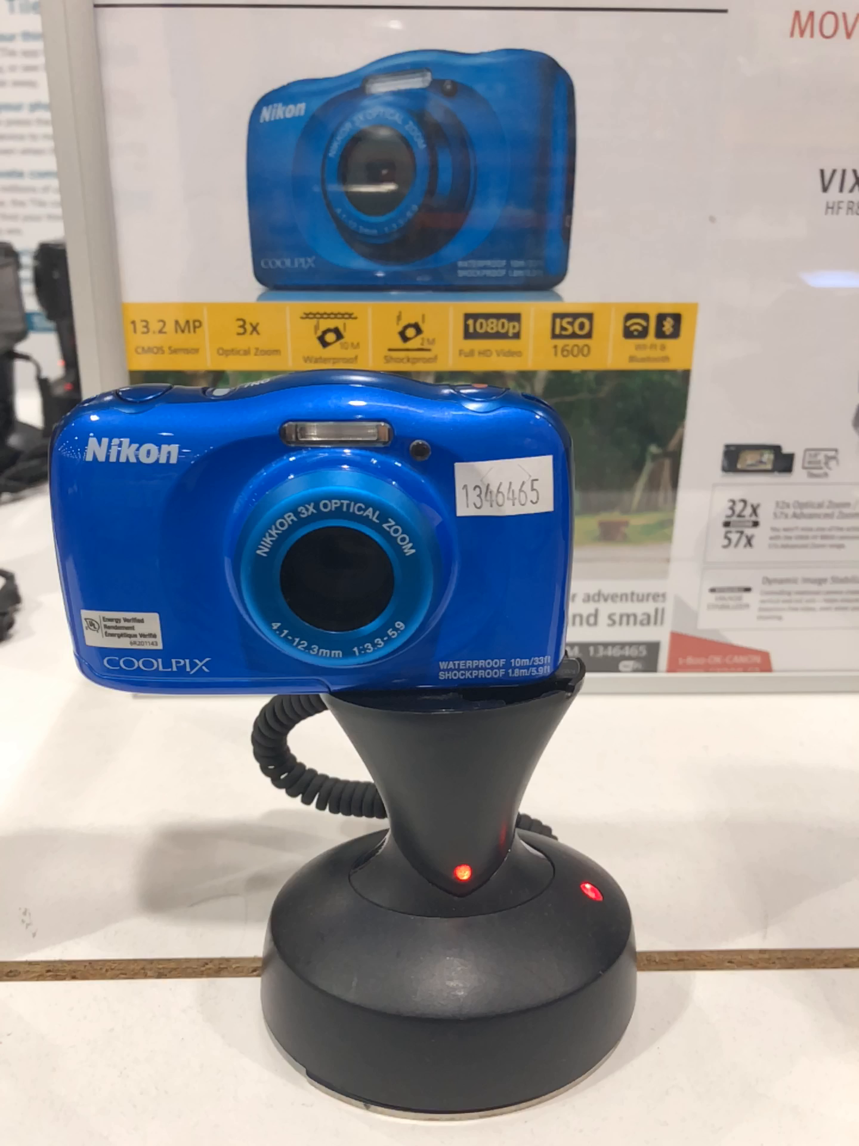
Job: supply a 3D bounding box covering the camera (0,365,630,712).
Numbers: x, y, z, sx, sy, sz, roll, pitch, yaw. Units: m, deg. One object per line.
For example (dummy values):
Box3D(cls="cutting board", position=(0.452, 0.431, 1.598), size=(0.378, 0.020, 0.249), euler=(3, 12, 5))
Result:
Box3D(cls="camera", position=(-0.021, -0.009, 0.198), size=(0.110, 0.060, 0.040), euler=(-1, 20, -5))
